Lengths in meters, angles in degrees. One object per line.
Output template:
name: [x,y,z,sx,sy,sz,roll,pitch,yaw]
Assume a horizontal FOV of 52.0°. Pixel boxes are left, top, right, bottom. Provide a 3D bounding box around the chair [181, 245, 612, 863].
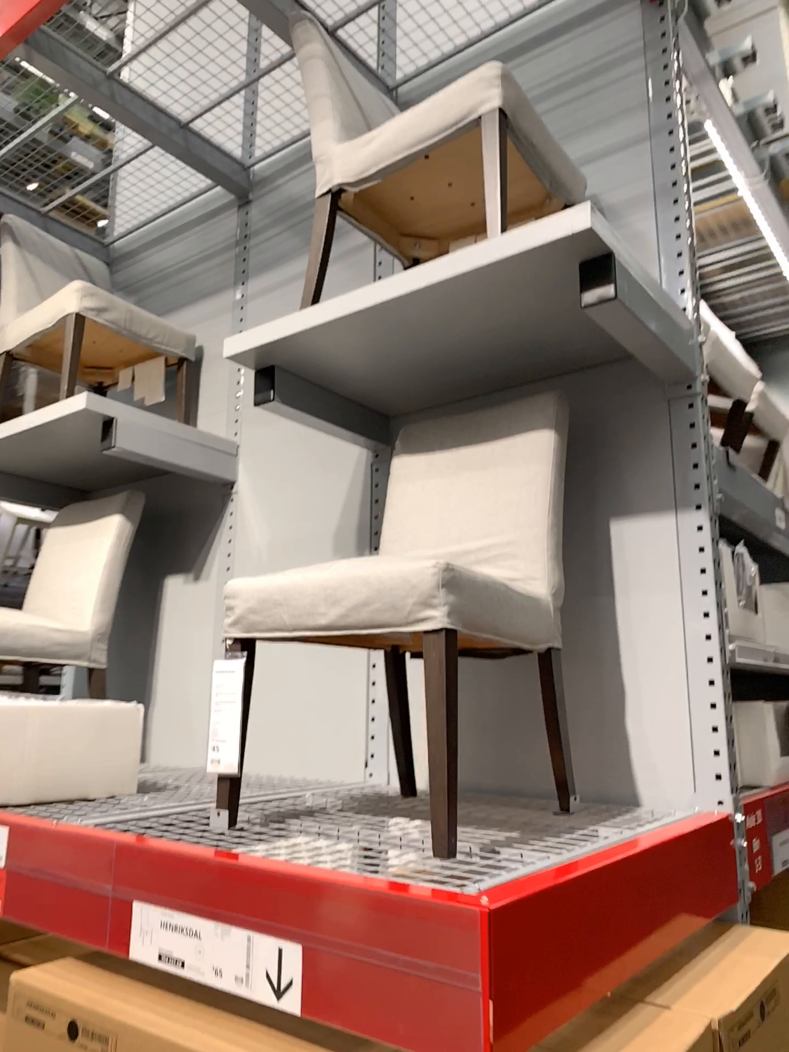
chair: [0.038,0.092,1.689,0.560,0.983,0.668,-8,-15,34]
